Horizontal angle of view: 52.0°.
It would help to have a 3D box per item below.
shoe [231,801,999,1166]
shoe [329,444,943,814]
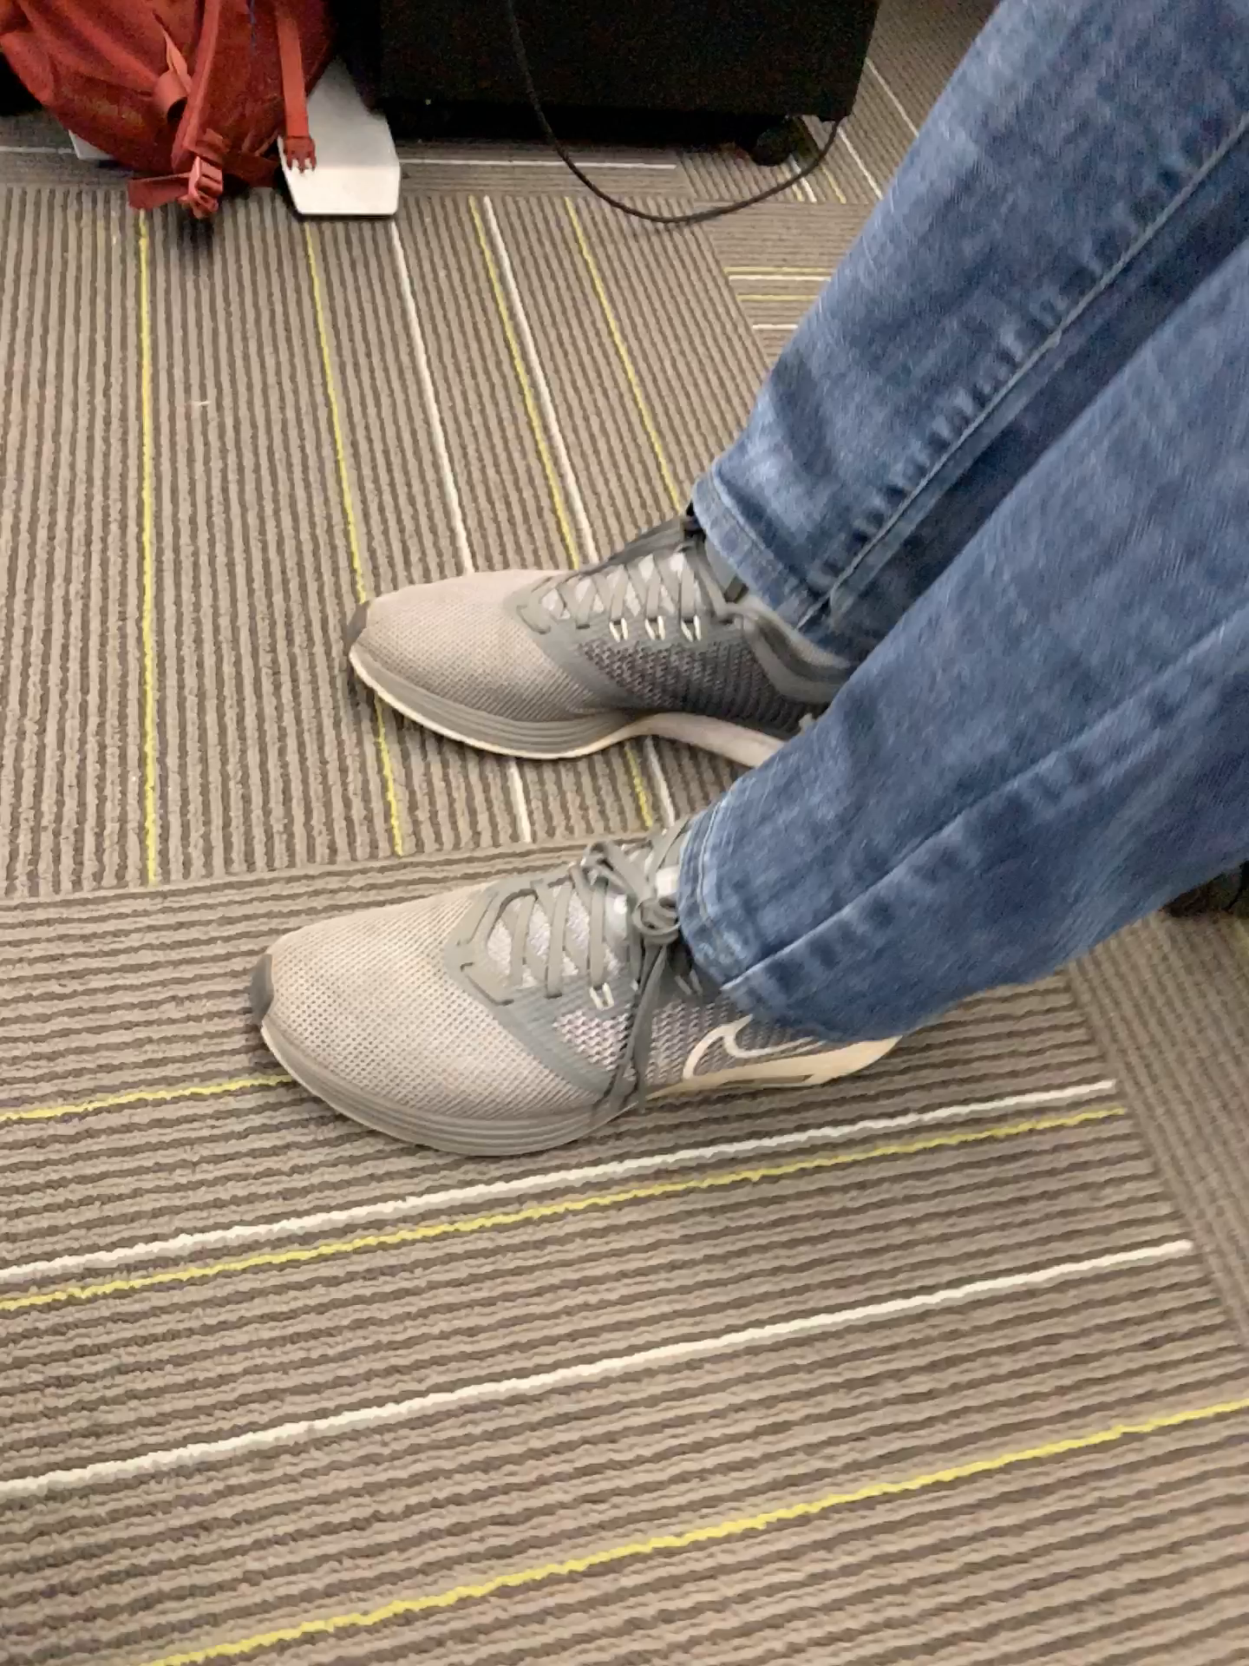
[{"bbox_3d":[-0.007,0.063,0.540,0.286,0.078,0.125,1,53,-9],"label":"shoe"},{"bbox_3d":[0.007,-0.104,0.656,0.283,0.078,0.133,8,53,-4],"label":"shoe"}]
